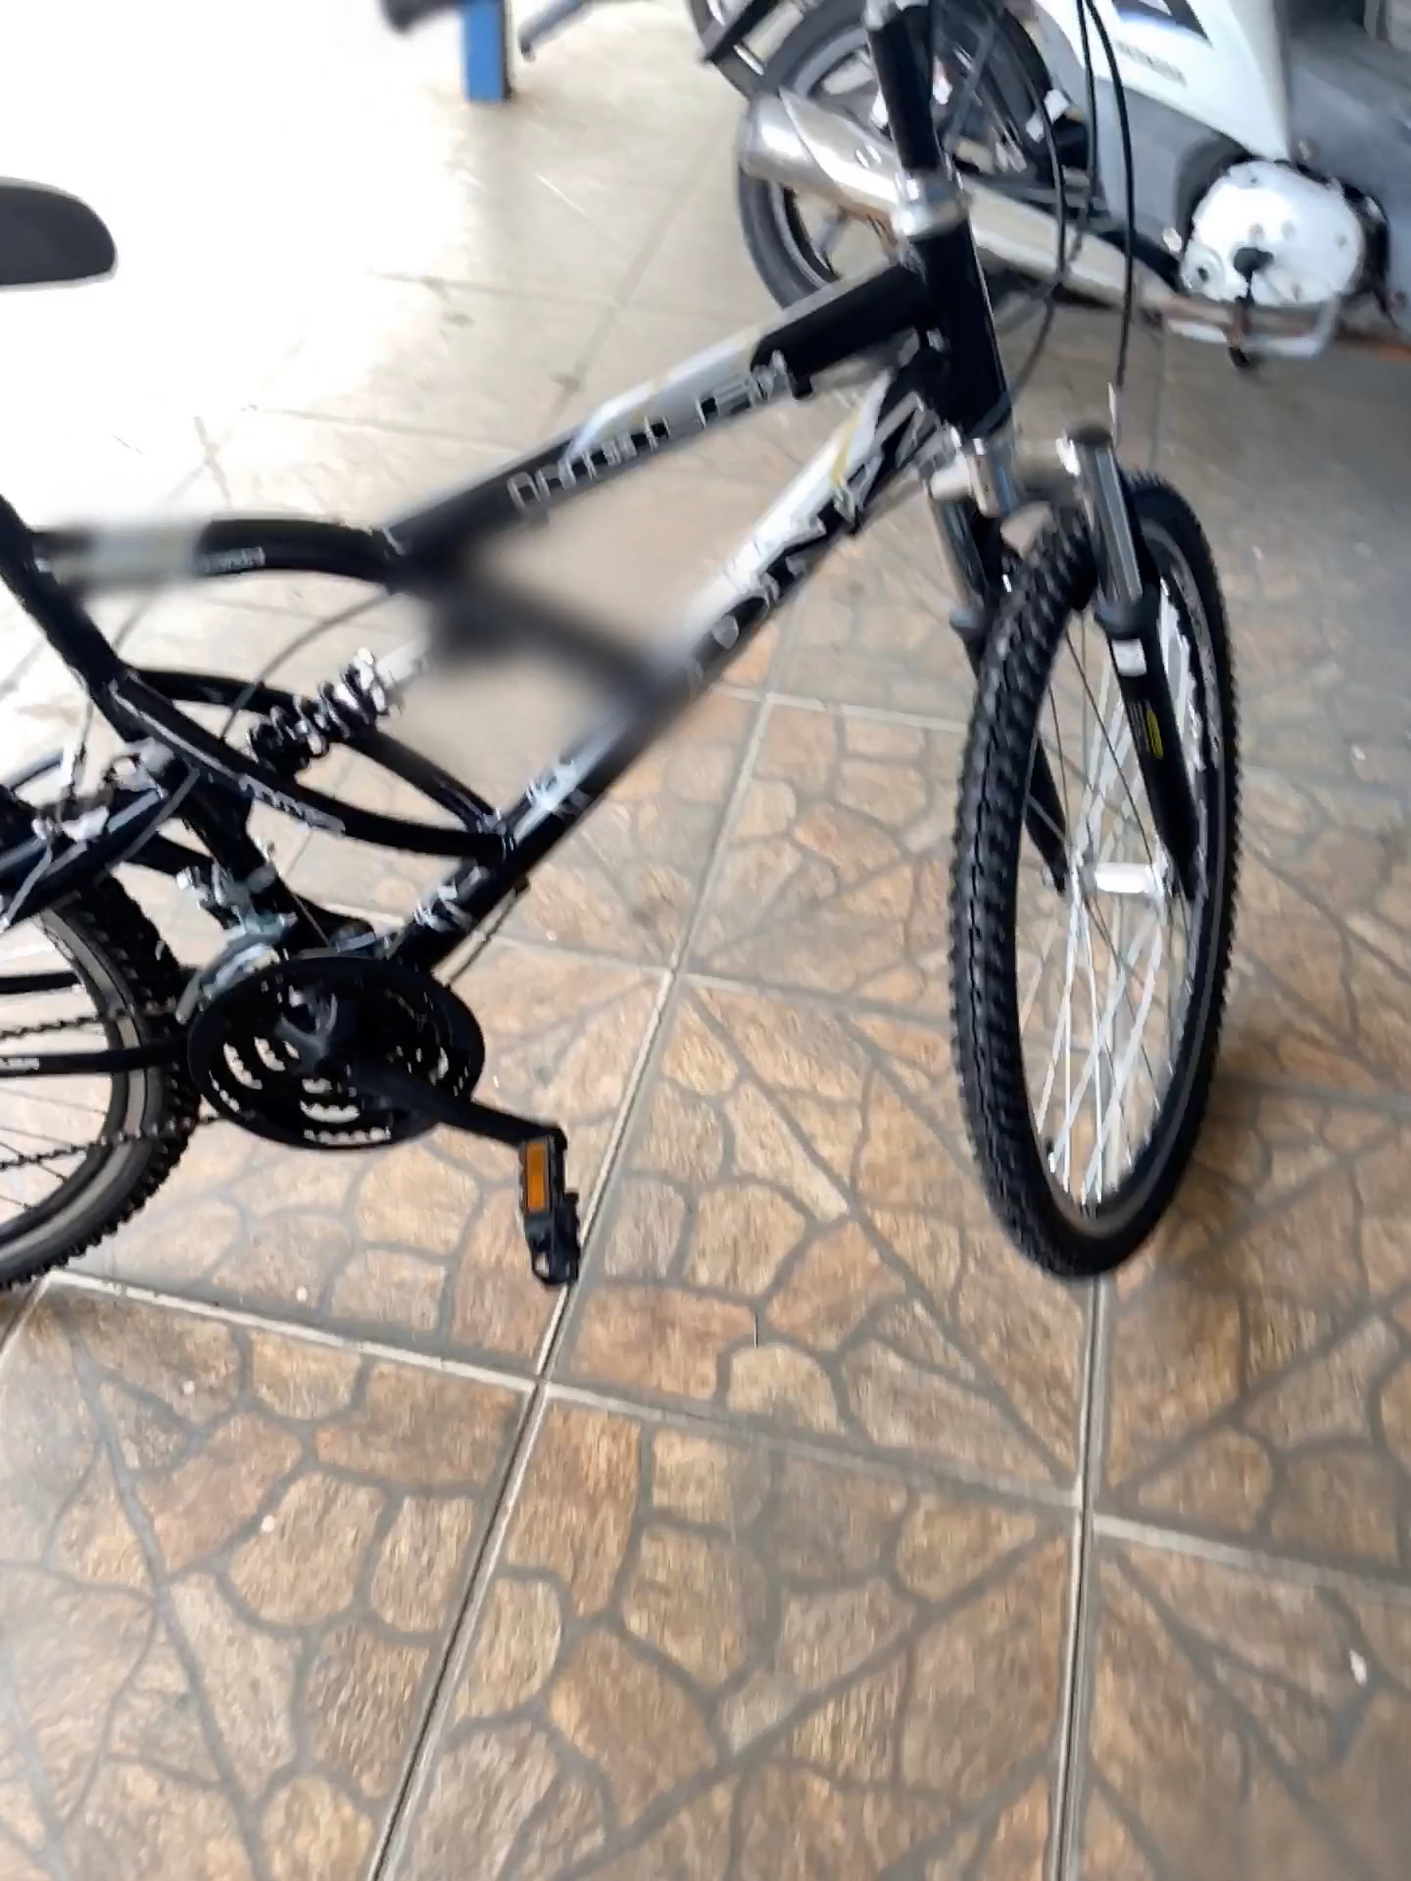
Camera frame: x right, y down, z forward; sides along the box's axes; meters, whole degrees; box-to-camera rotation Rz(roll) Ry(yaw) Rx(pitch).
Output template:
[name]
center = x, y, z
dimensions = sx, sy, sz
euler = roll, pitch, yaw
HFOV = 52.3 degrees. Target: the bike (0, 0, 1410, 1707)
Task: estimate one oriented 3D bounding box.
[bike]
center = -0.278, -0.228, 0.938
dimensions = 1.586, 1.154, 0.606
euler = -15, 52, -10
